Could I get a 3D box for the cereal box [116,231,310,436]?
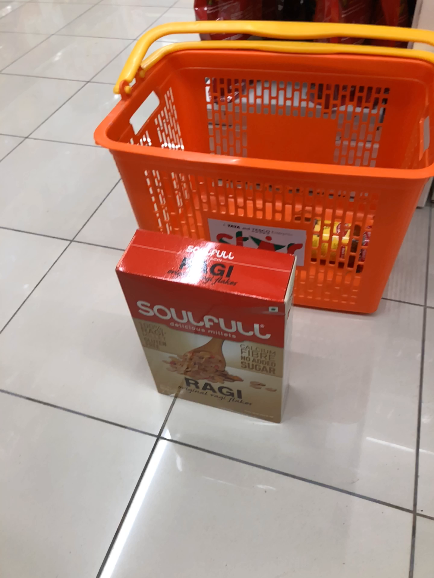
[{"bbox_3d":[0.005,0.059,0.530,0.170,0.239,0.060,10,49,15],"label":"cereal box"}]
